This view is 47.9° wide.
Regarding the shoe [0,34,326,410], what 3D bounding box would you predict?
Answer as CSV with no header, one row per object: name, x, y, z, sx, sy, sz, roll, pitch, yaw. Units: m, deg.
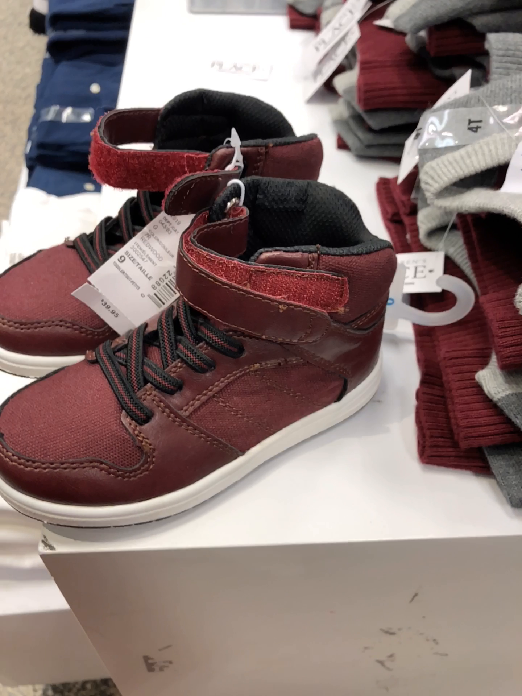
shoe,-0.064,-0.058,0.257,0.160,0.100,0.070,-23,56,-22

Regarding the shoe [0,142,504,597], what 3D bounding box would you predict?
shoe,-0.014,0.002,0.237,0.180,0.100,0.080,-23,56,-22
